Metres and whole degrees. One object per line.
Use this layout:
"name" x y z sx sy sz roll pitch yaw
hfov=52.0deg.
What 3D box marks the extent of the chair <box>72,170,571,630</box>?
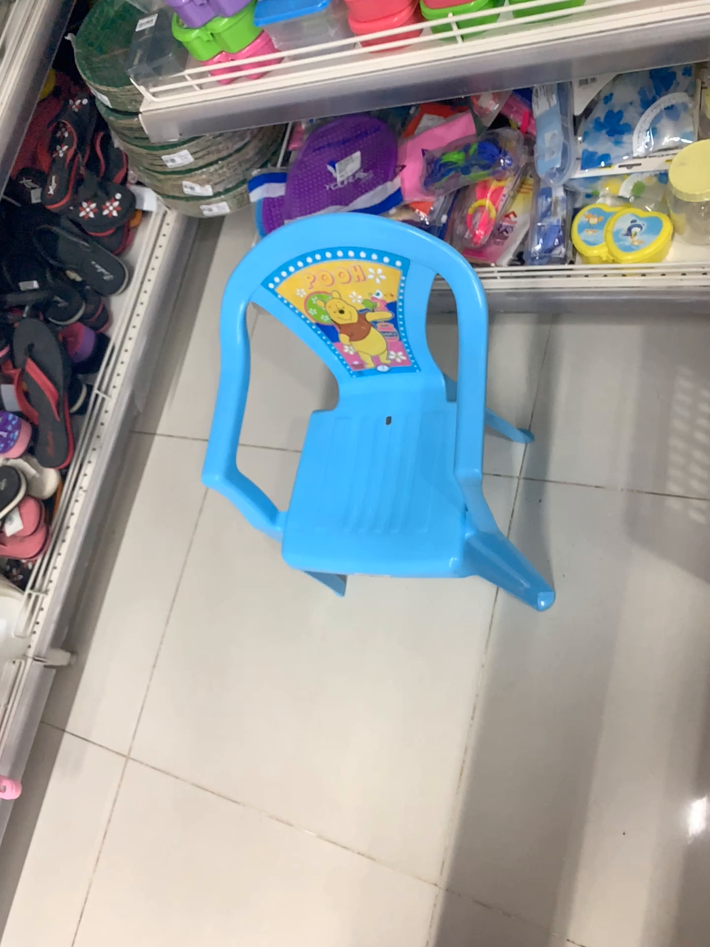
"chair" 0.019 -0.024 0.909 0.391 0.508 0.350 -2 72 27
